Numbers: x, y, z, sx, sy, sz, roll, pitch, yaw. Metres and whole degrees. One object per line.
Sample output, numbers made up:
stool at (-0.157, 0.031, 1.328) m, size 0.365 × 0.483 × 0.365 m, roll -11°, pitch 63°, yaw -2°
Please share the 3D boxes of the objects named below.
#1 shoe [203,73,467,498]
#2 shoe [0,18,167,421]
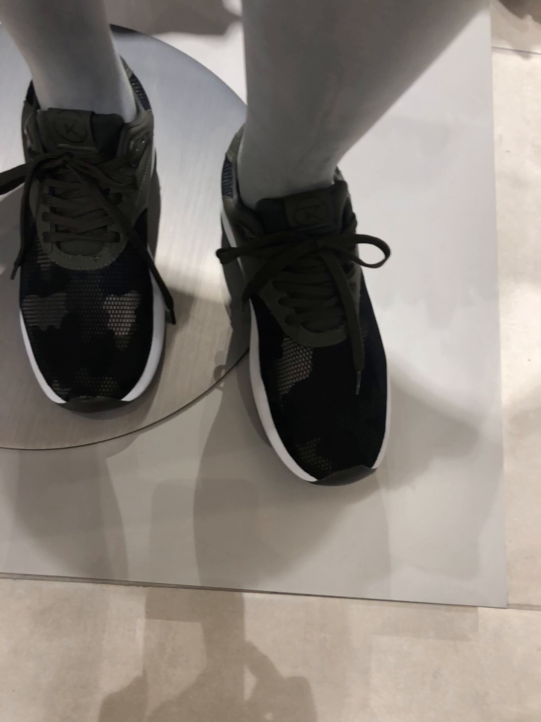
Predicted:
shoe at (0.031, -0.053, 0.447) m, size 0.110 × 0.110 × 0.280 m, roll -11°, pitch 76°, yaw -9°
shoe at (-0.132, -0.096, 0.440) m, size 0.100 × 0.120 × 0.260 m, roll -1°, pitch 74°, yaw -6°
